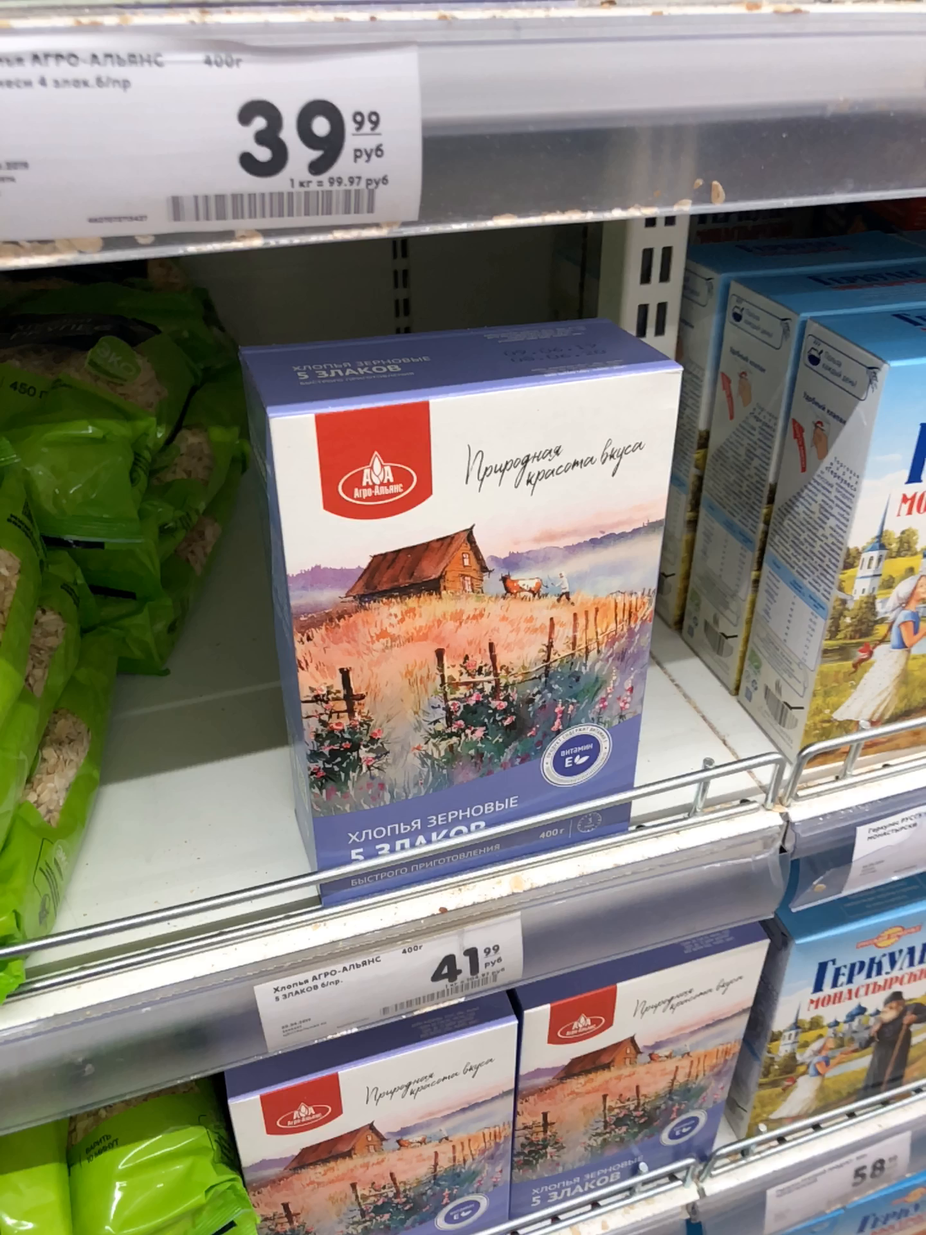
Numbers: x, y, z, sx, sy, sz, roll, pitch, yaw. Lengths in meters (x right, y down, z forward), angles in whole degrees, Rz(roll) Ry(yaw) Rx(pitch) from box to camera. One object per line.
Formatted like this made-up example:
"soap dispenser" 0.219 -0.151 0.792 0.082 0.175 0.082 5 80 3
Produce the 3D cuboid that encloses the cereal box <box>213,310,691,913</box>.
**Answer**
"cereal box" -0.004 0.001 0.379 0.140 0.199 0.060 -10 34 -15
